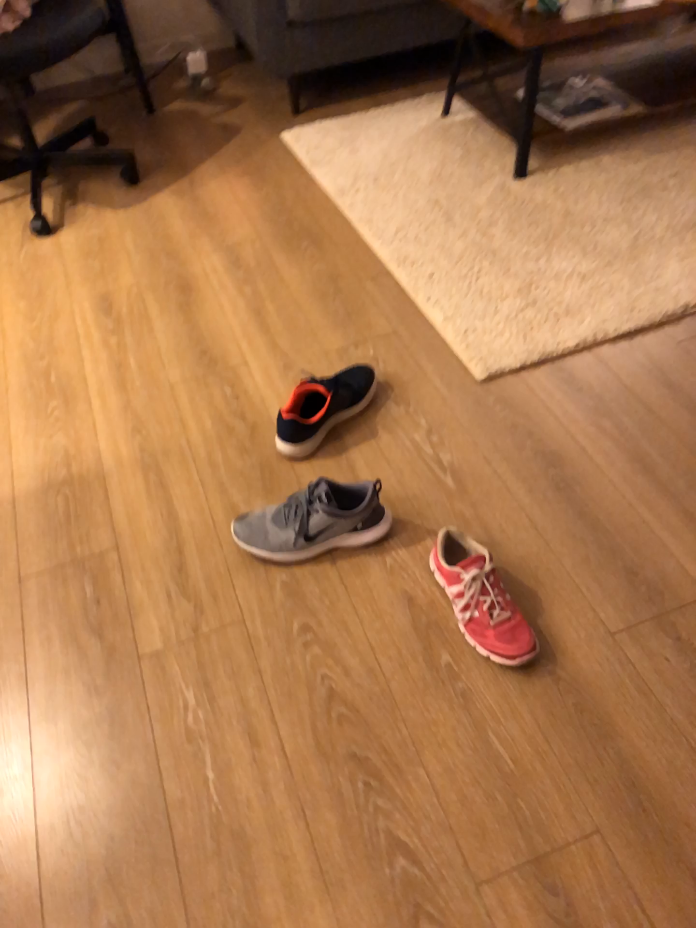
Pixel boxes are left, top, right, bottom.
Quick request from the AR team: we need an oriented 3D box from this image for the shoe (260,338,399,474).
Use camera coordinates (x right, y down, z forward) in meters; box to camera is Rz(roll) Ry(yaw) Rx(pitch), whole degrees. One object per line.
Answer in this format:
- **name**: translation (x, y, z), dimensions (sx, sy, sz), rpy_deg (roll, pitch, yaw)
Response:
- **shoe**: translation (-0.032, -0.130, 1.642), dimensions (0.130, 0.099, 0.301), rpy_deg (26, 54, 28)

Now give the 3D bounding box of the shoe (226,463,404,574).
- **shoe**: translation (-0.059, 0.100, 1.405), dimensions (0.306, 0.109, 0.131), rpy_deg (-6, 46, 1)

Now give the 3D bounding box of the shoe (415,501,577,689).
- **shoe**: translation (0.237, 0.210, 1.283), dimensions (0.140, 0.090, 0.281), rpy_deg (-19, 47, -12)
